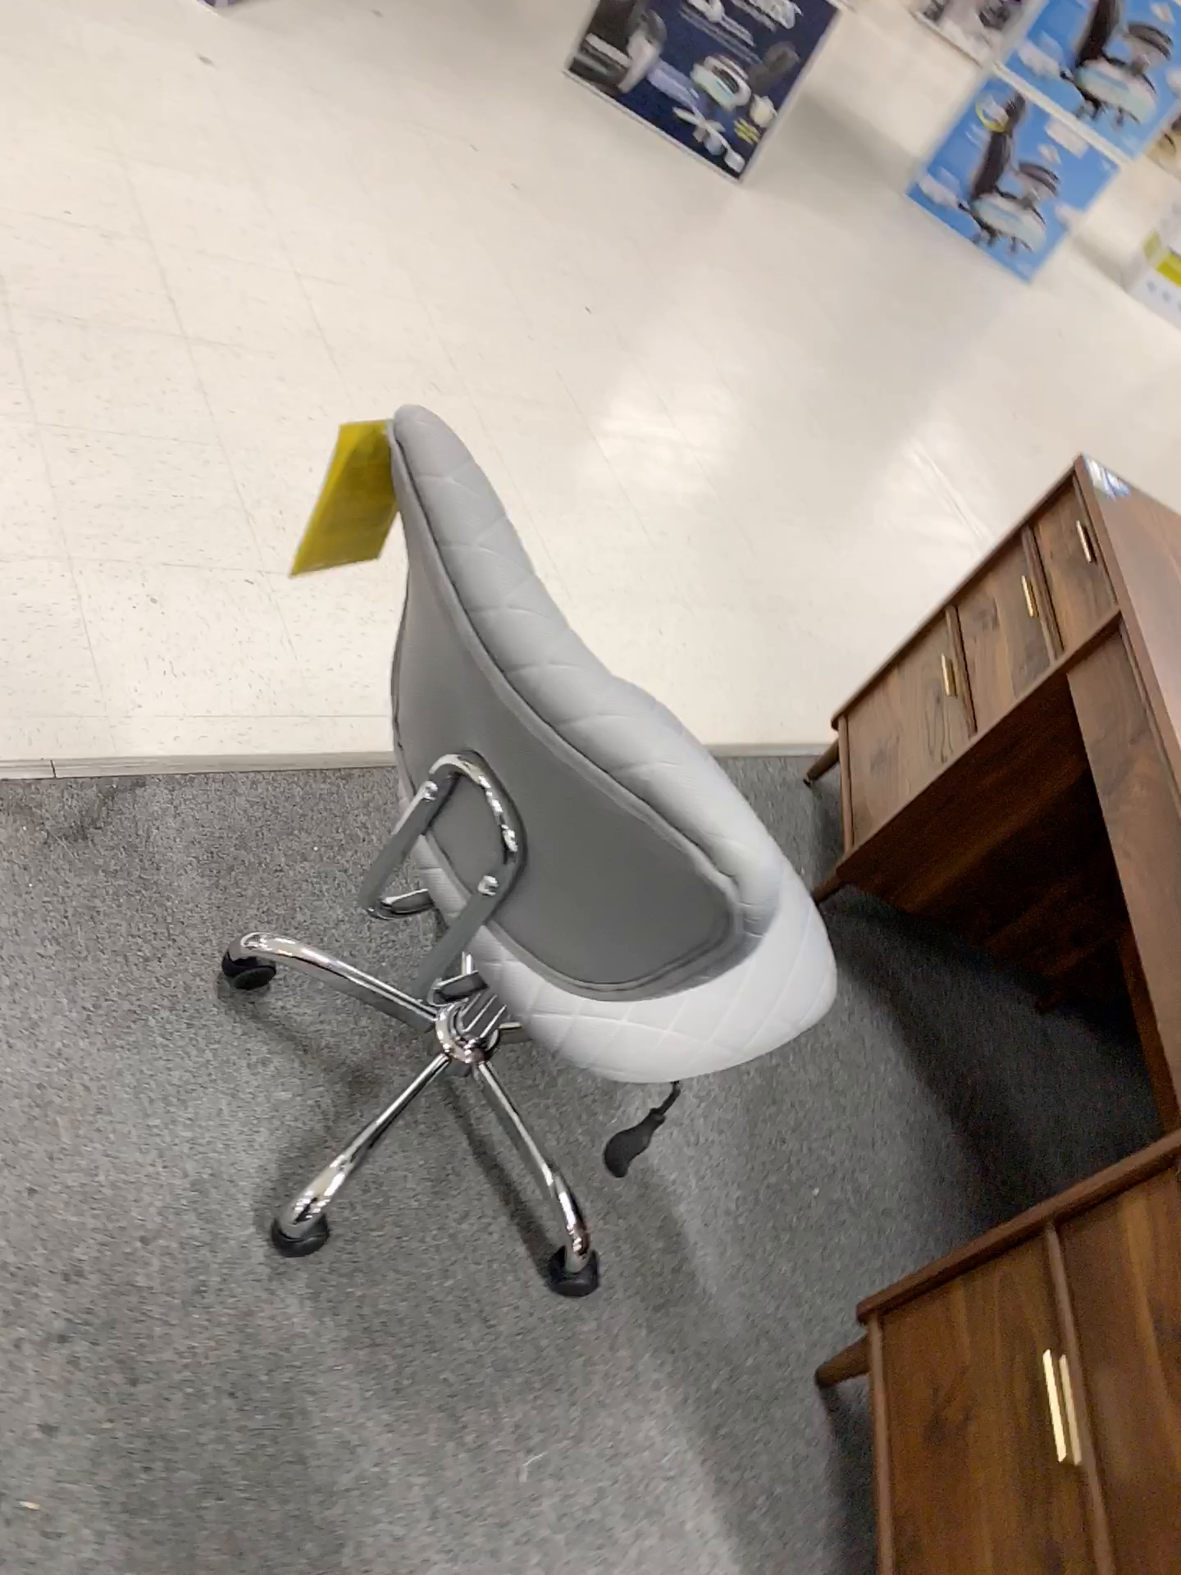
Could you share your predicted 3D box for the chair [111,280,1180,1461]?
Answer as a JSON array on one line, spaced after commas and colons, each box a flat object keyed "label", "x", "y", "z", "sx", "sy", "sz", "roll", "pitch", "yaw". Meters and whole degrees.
[{"label": "chair", "x": 0.023, "y": 0.106, "z": 1.225, "sx": 0.642, "sy": 0.876, "sz": 0.631, "roll": -11, "pitch": 60, "yaw": -40}]
